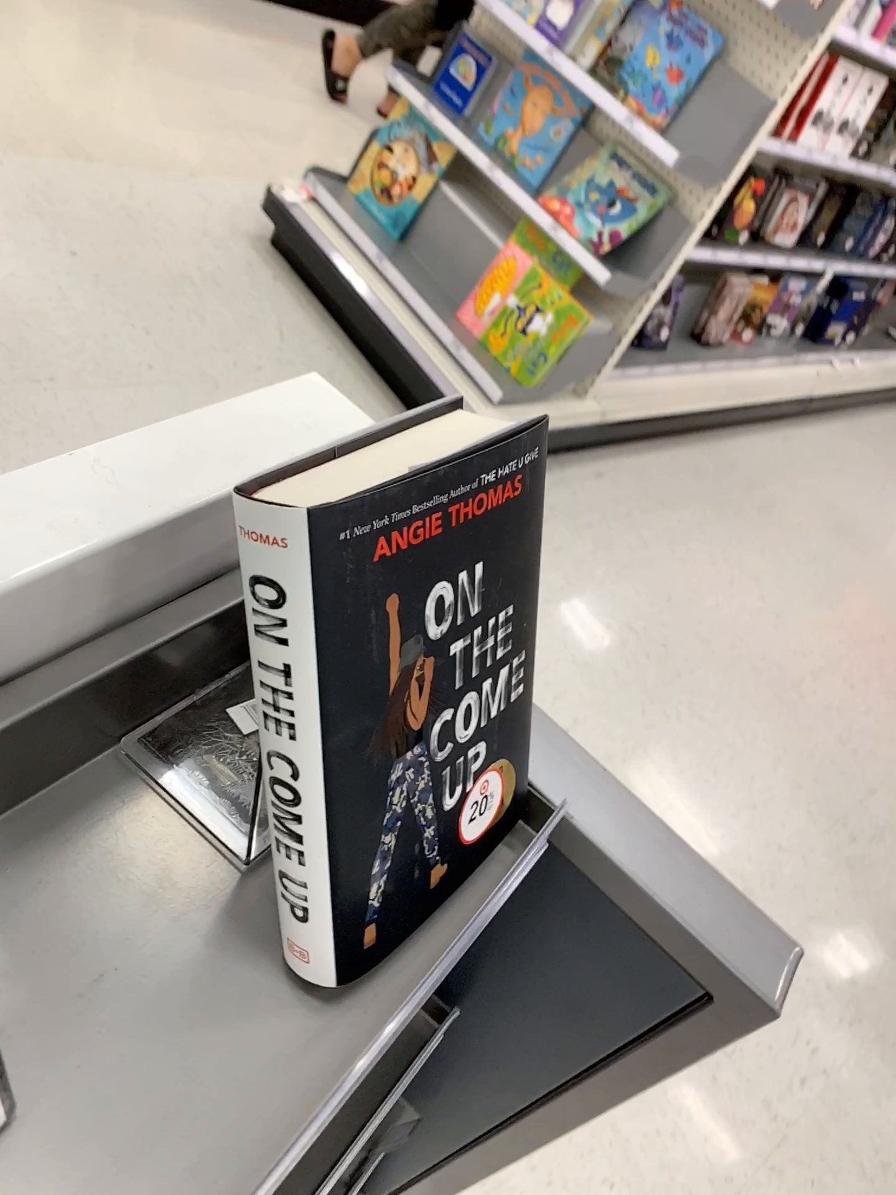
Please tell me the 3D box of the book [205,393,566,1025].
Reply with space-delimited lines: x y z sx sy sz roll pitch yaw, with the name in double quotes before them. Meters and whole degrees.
"book" -0.017 0.041 0.397 0.056 0.222 0.149 18 31 30
